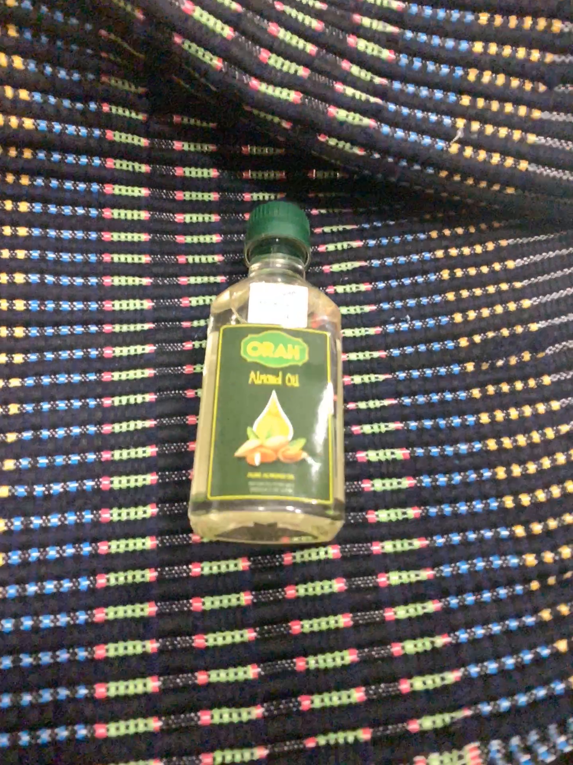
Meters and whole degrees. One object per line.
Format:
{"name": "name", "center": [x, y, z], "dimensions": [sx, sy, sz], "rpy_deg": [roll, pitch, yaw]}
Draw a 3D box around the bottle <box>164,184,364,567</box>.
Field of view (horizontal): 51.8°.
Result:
{"name": "bottle", "center": [-0.006, -0.010, 0.227], "dimensions": [0.060, 0.030, 0.150], "rpy_deg": [2, 60, -2]}
